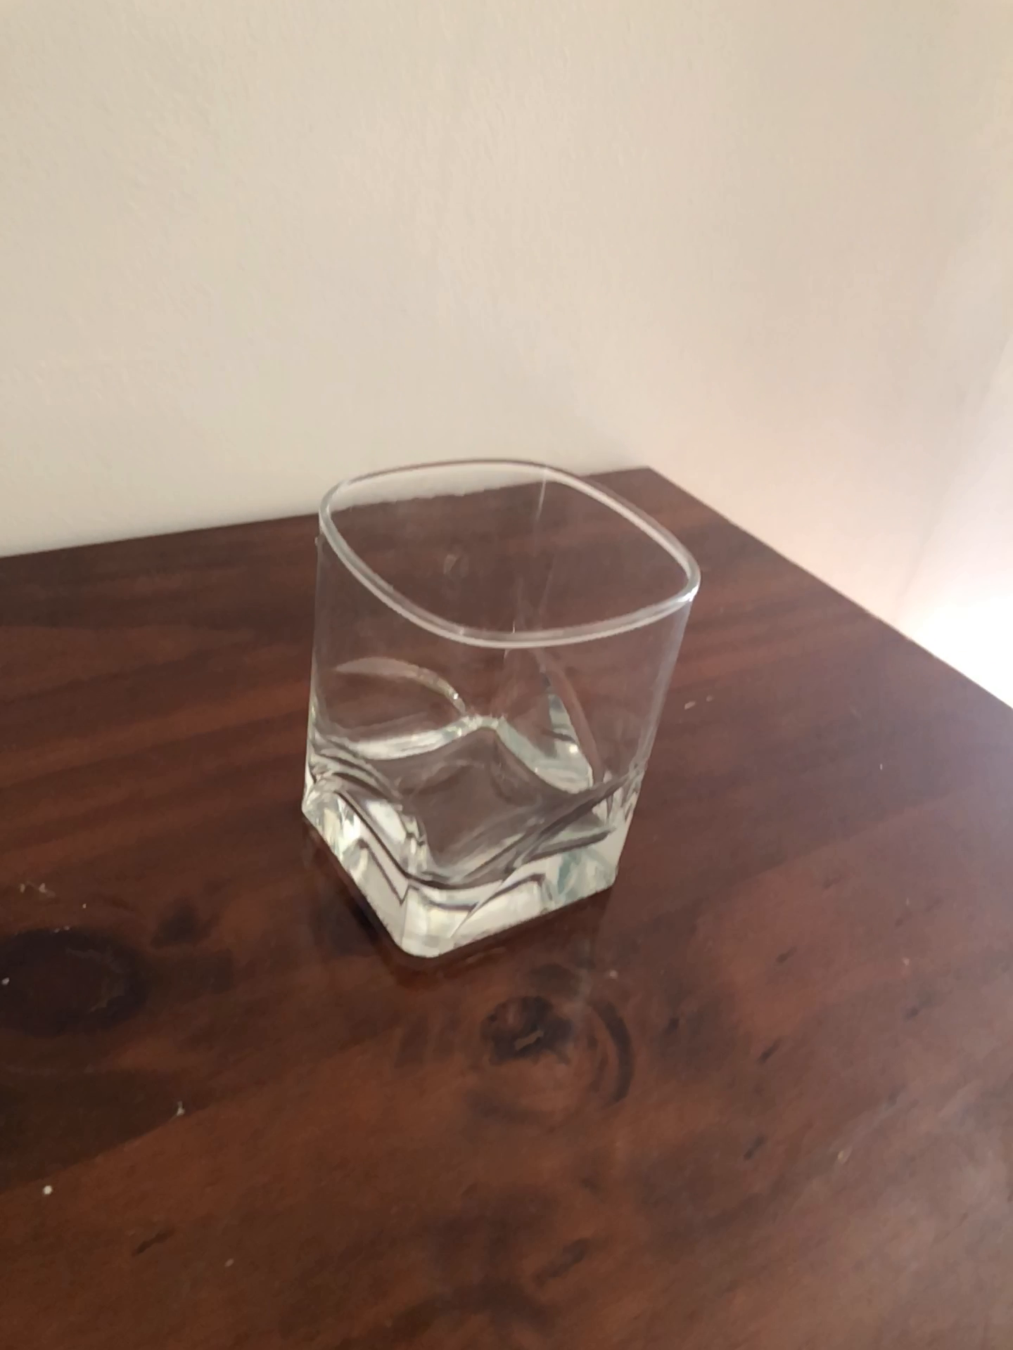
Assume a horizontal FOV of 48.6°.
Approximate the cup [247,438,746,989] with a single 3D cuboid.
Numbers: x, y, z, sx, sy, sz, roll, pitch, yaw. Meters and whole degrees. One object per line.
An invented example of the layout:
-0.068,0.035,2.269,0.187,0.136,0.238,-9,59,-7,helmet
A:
-0.008,0.003,0.263,0.078,0.087,0.076,7,32,-4,cup
